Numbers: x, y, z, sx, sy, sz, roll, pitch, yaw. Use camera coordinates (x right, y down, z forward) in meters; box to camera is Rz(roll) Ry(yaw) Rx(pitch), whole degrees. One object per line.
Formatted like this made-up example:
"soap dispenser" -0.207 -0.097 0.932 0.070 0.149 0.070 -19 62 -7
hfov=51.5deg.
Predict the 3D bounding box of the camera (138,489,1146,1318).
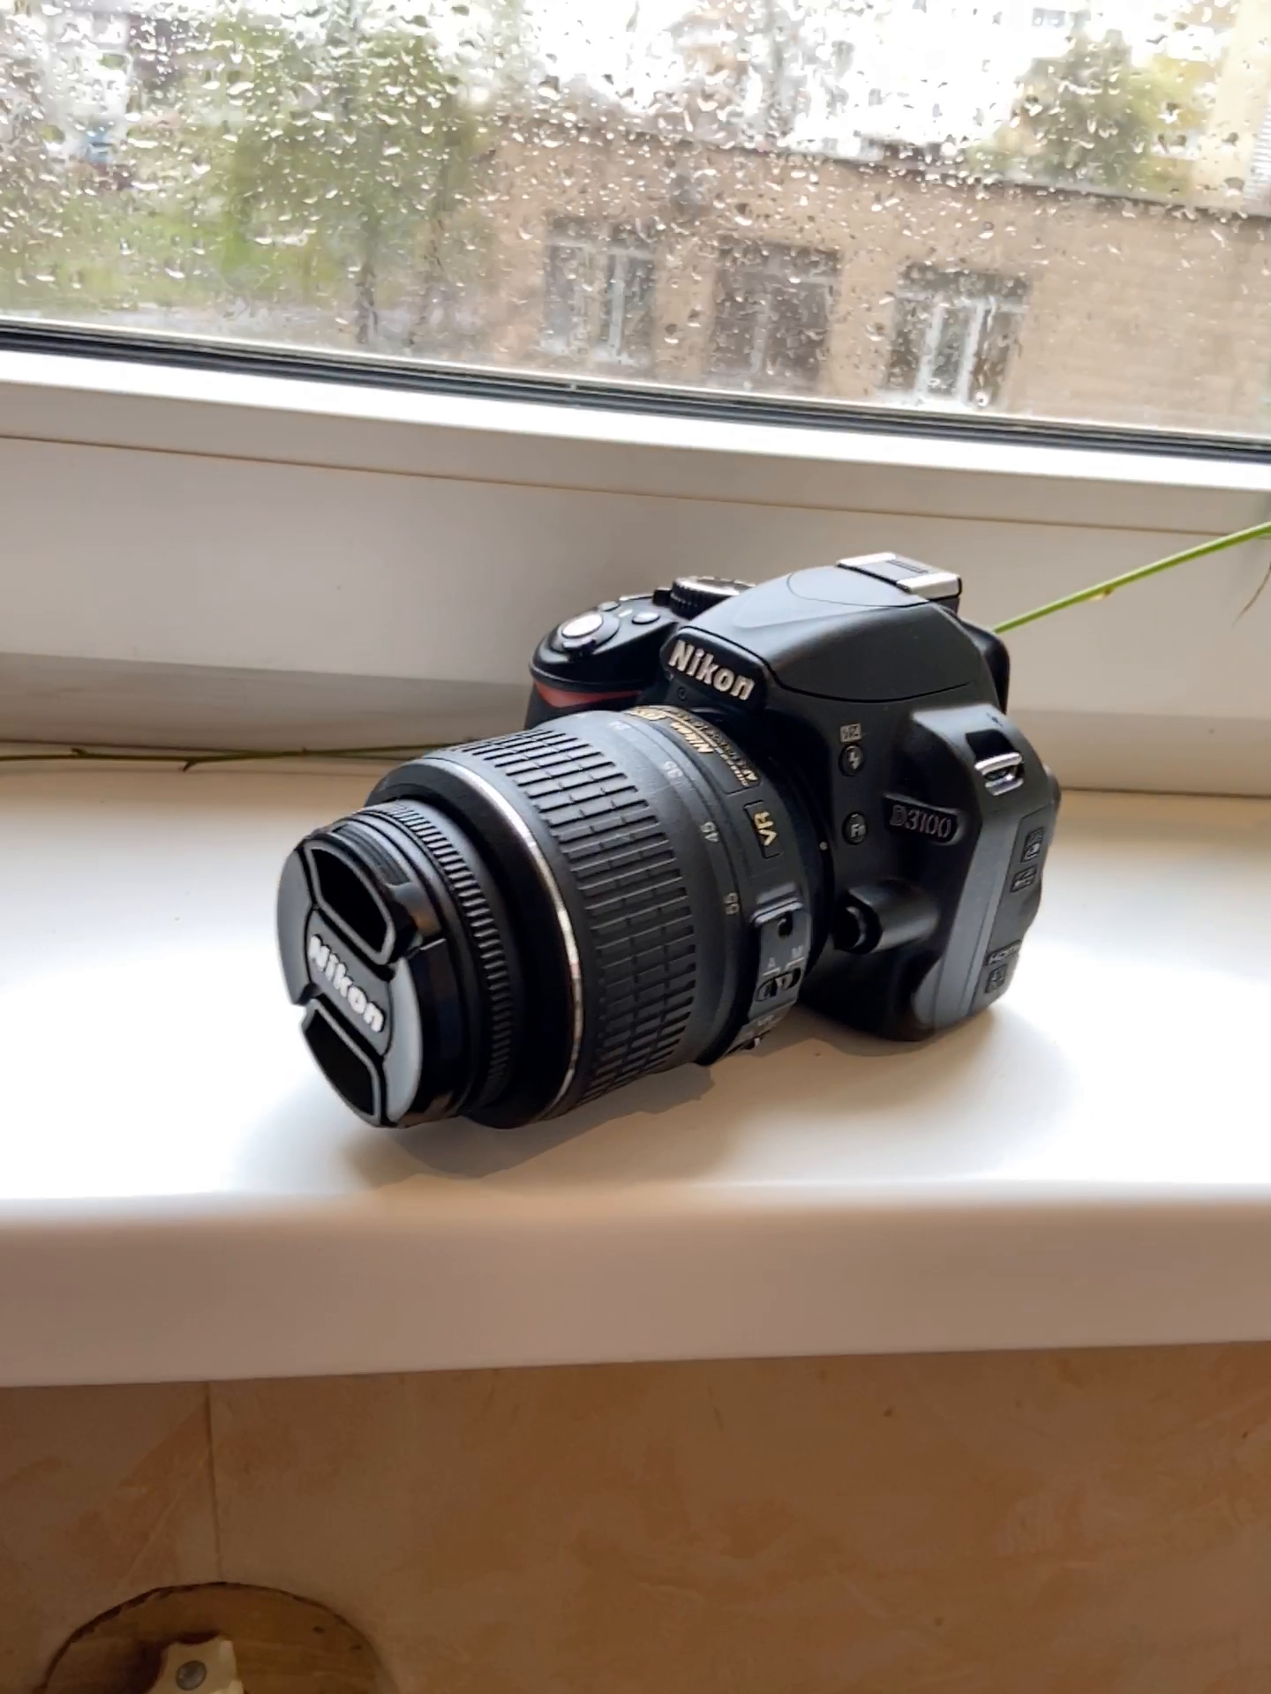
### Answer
"camera" 0.001 -0.009 0.280 0.159 0.092 0.122 -18 37 -38
